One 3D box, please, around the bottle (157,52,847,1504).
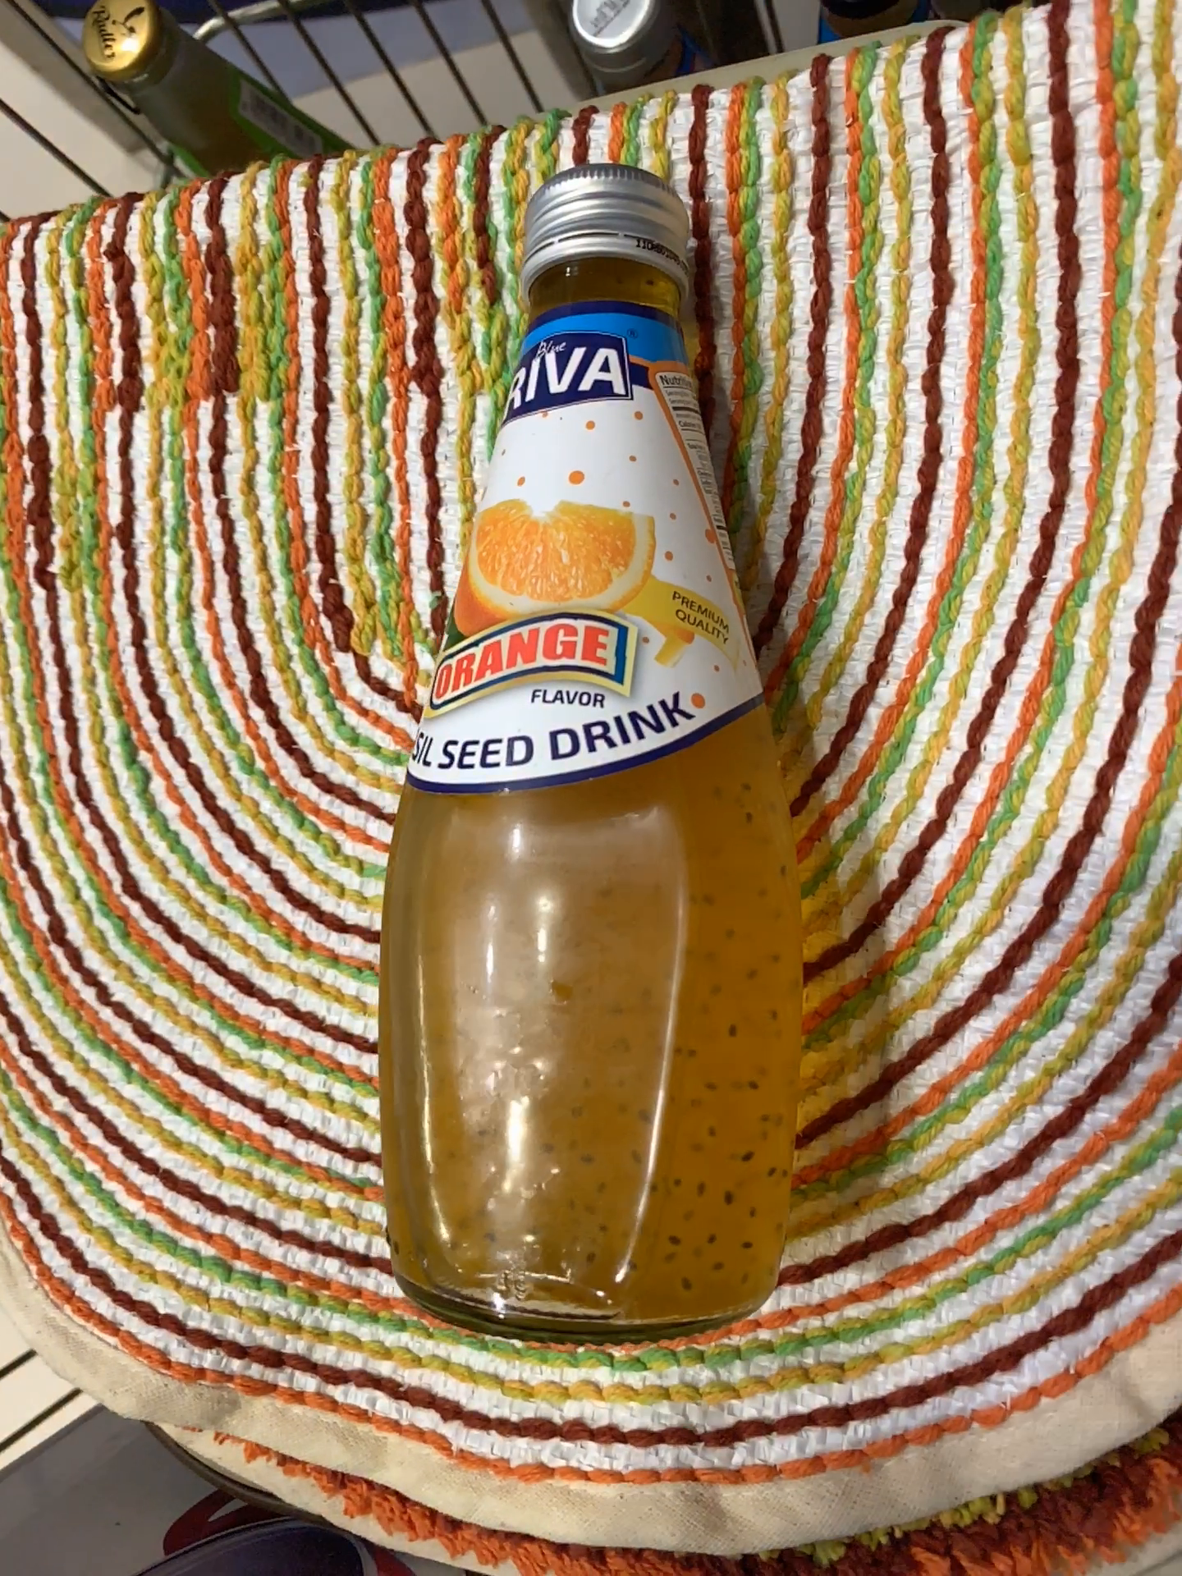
[{"bbox_3d":[-0.007,0.002,0.170,0.070,0.050,0.160,-1,96,21],"label":"bottle"}]
